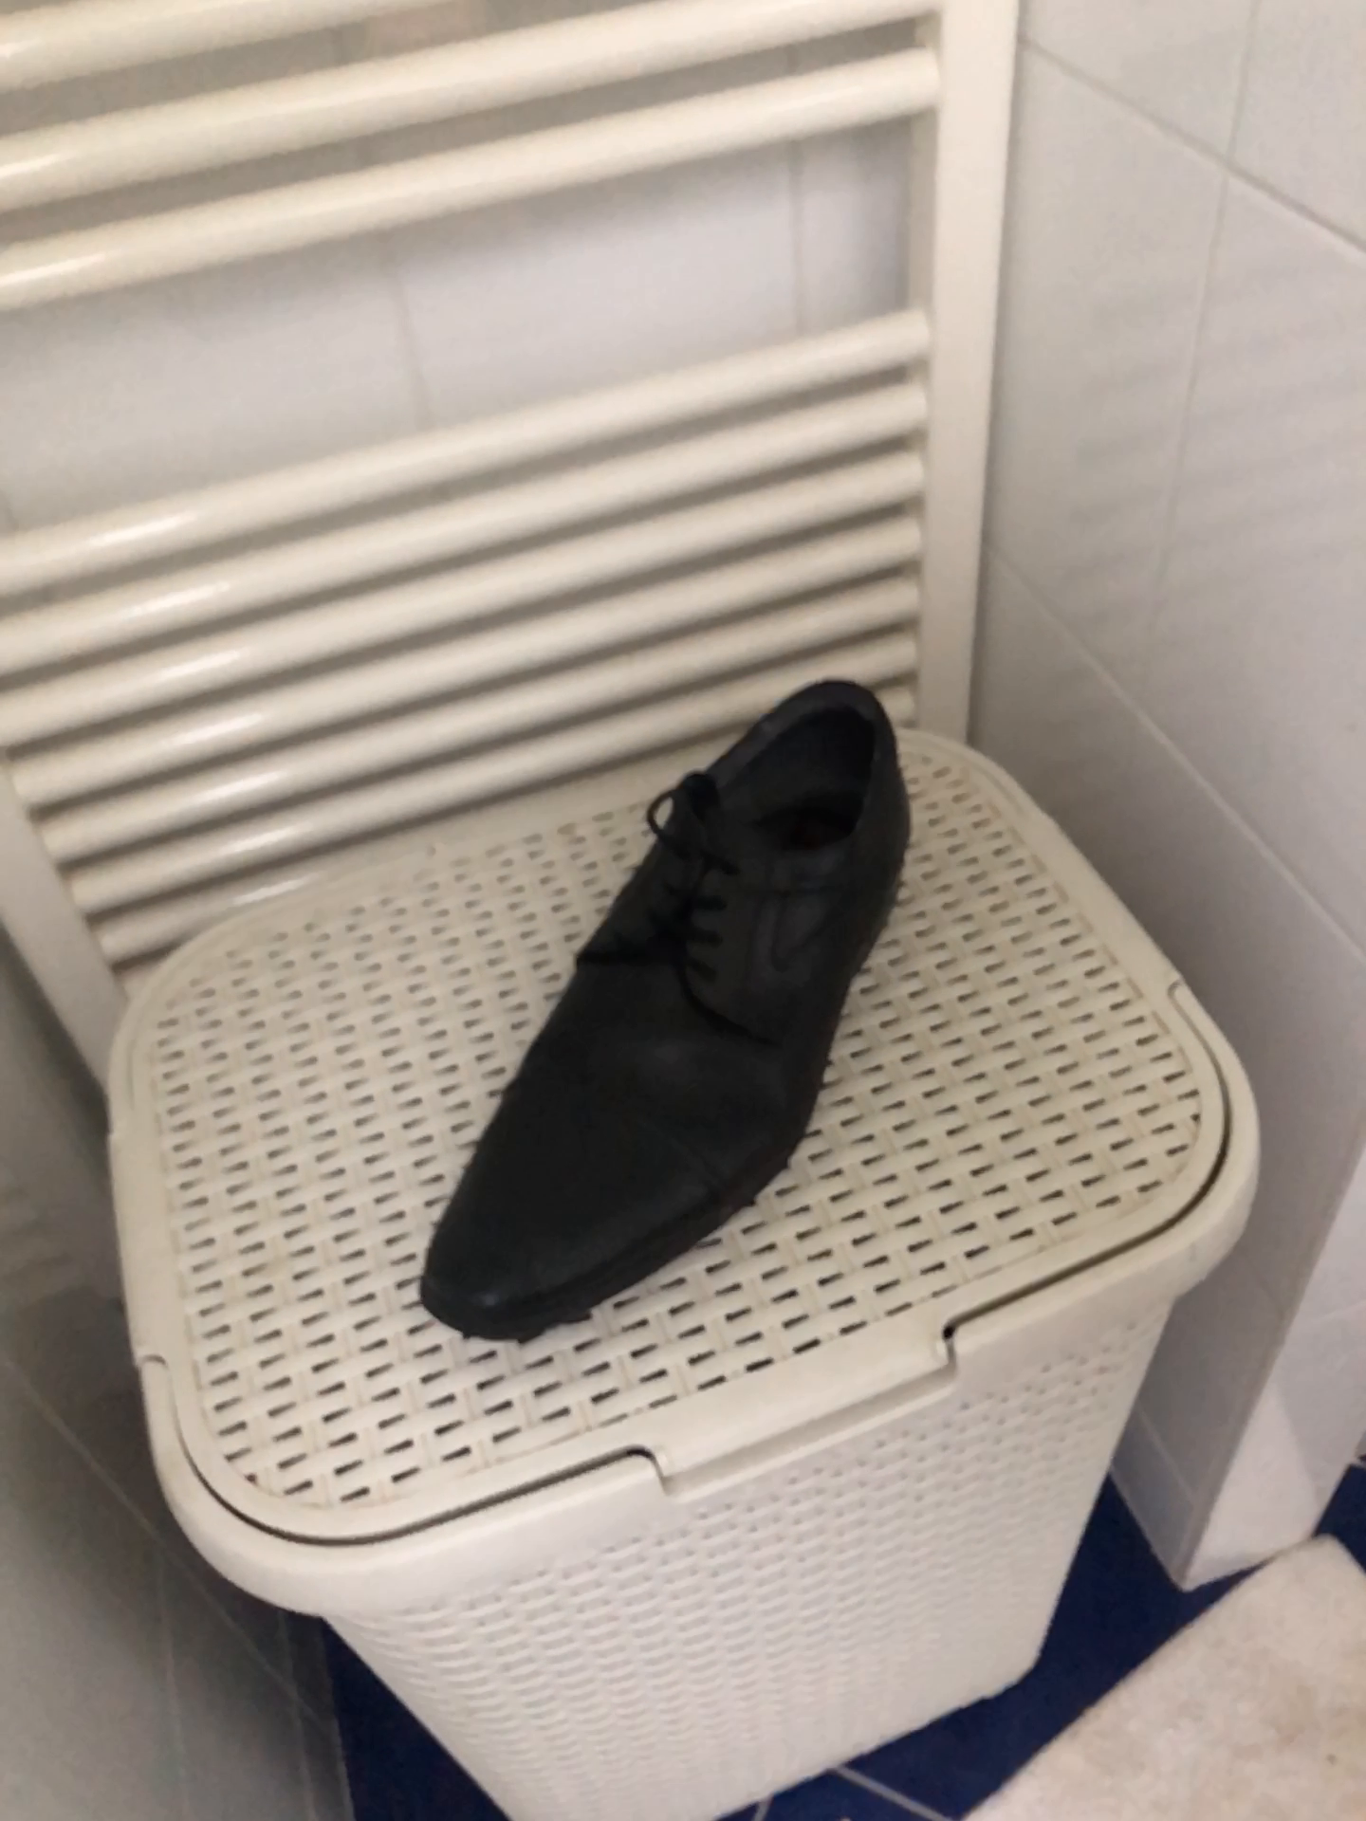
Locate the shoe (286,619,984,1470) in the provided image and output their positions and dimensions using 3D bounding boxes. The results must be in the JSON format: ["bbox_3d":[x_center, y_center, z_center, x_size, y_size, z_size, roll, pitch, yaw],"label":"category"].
[{"bbox_3d":[0.003,0.030,0.574,0.110,0.099,0.312,18,51,22],"label":"shoe"}]
